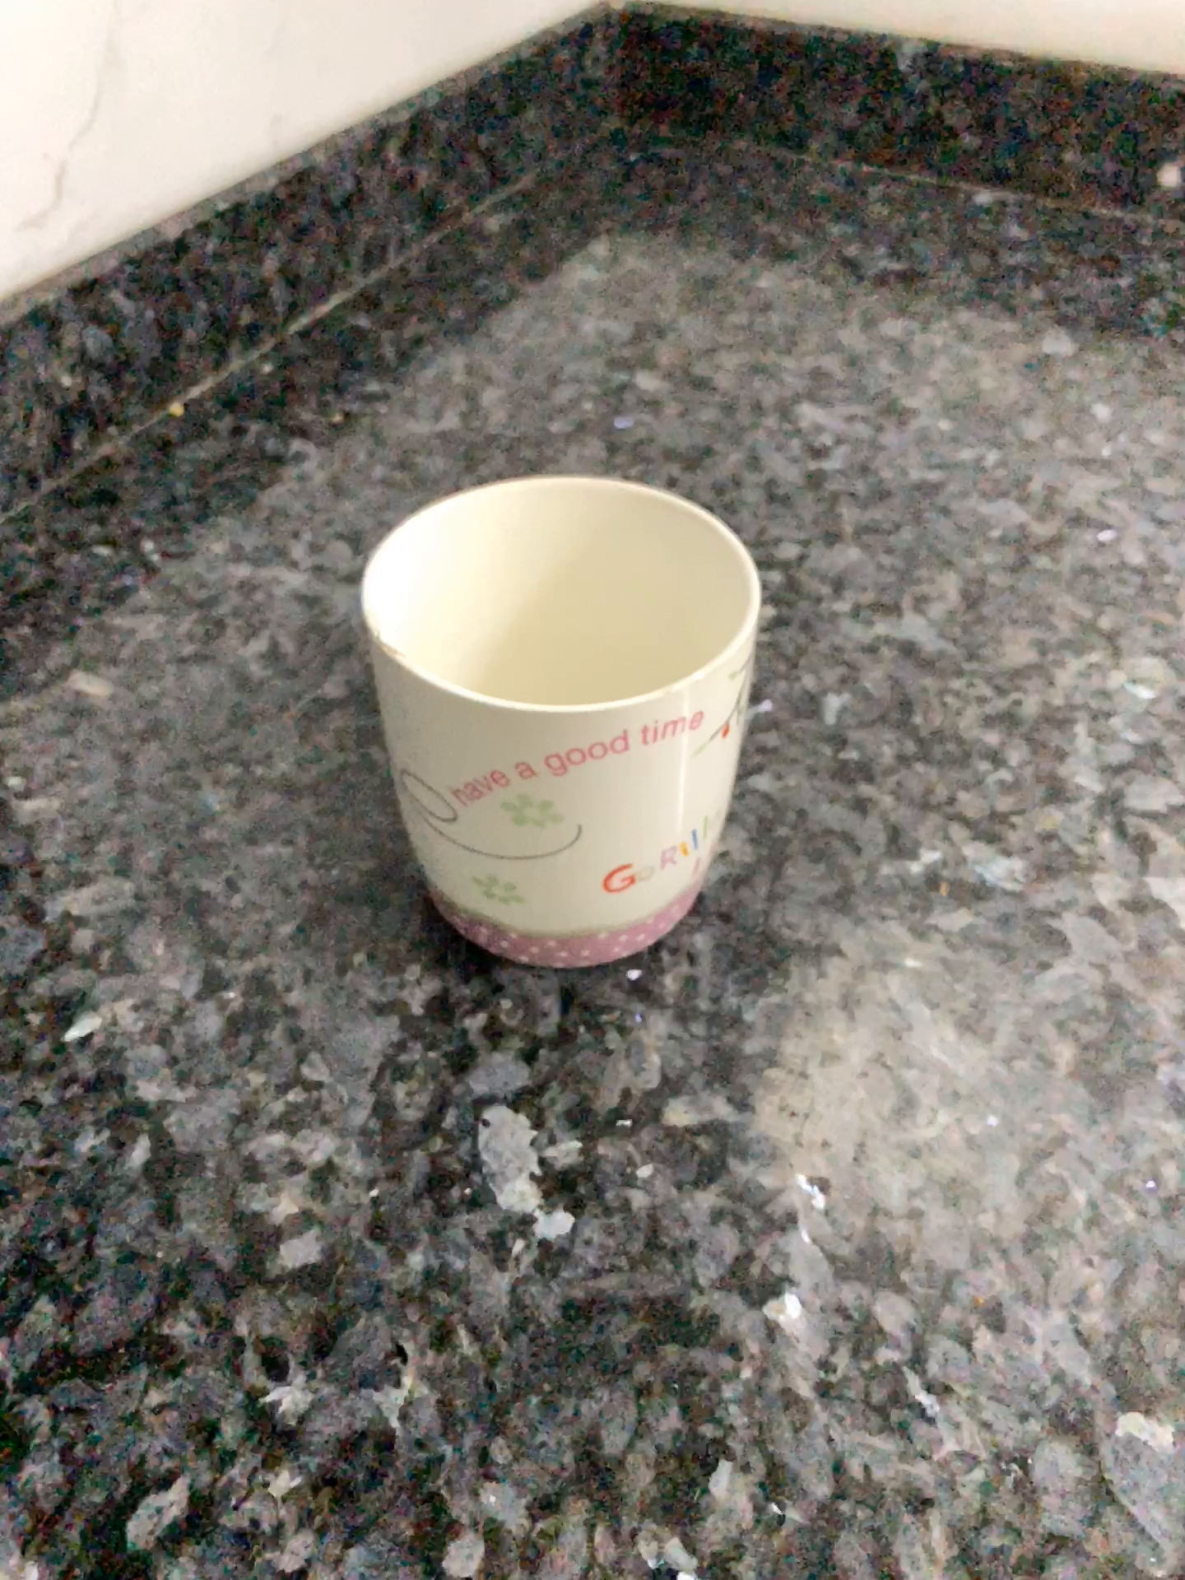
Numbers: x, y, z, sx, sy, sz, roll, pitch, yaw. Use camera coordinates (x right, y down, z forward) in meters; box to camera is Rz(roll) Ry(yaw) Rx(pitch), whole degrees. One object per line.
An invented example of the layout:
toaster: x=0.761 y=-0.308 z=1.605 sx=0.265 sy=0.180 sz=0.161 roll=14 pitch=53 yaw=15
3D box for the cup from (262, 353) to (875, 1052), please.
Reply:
cup: x=0.001 y=-0.026 z=0.289 sx=0.080 sy=0.089 sz=0.121 roll=20 pitch=48 yaw=19
